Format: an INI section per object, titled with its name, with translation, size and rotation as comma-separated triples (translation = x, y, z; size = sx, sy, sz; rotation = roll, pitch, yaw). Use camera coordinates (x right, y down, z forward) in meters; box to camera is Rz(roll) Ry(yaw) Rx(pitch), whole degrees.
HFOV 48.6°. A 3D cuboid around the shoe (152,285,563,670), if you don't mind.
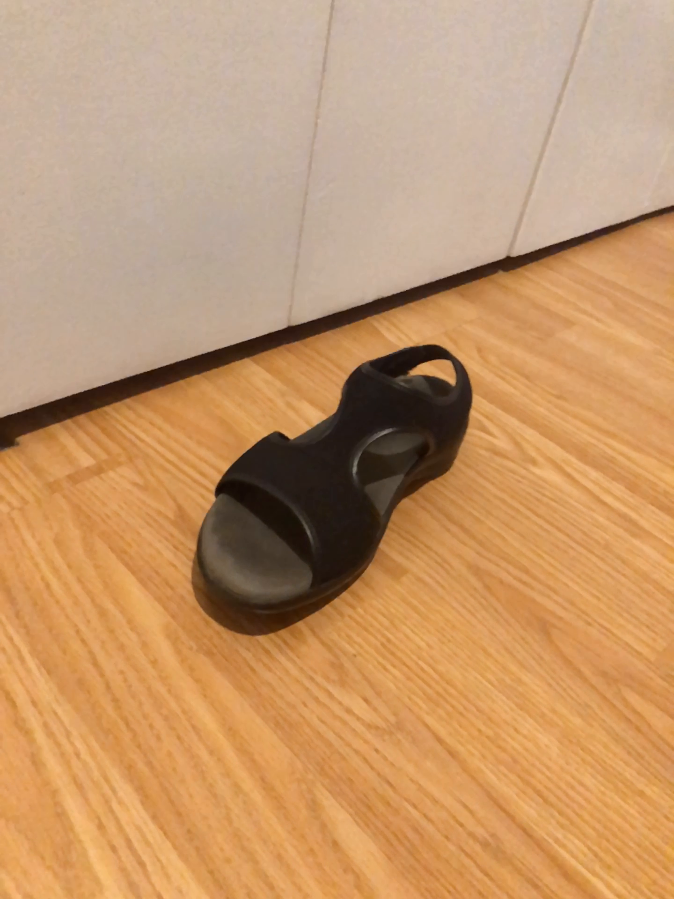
[shoe]
translation = 0.022, -0.003, 0.446
size = 0.100, 0.100, 0.251
rotation = 32, 41, 24
